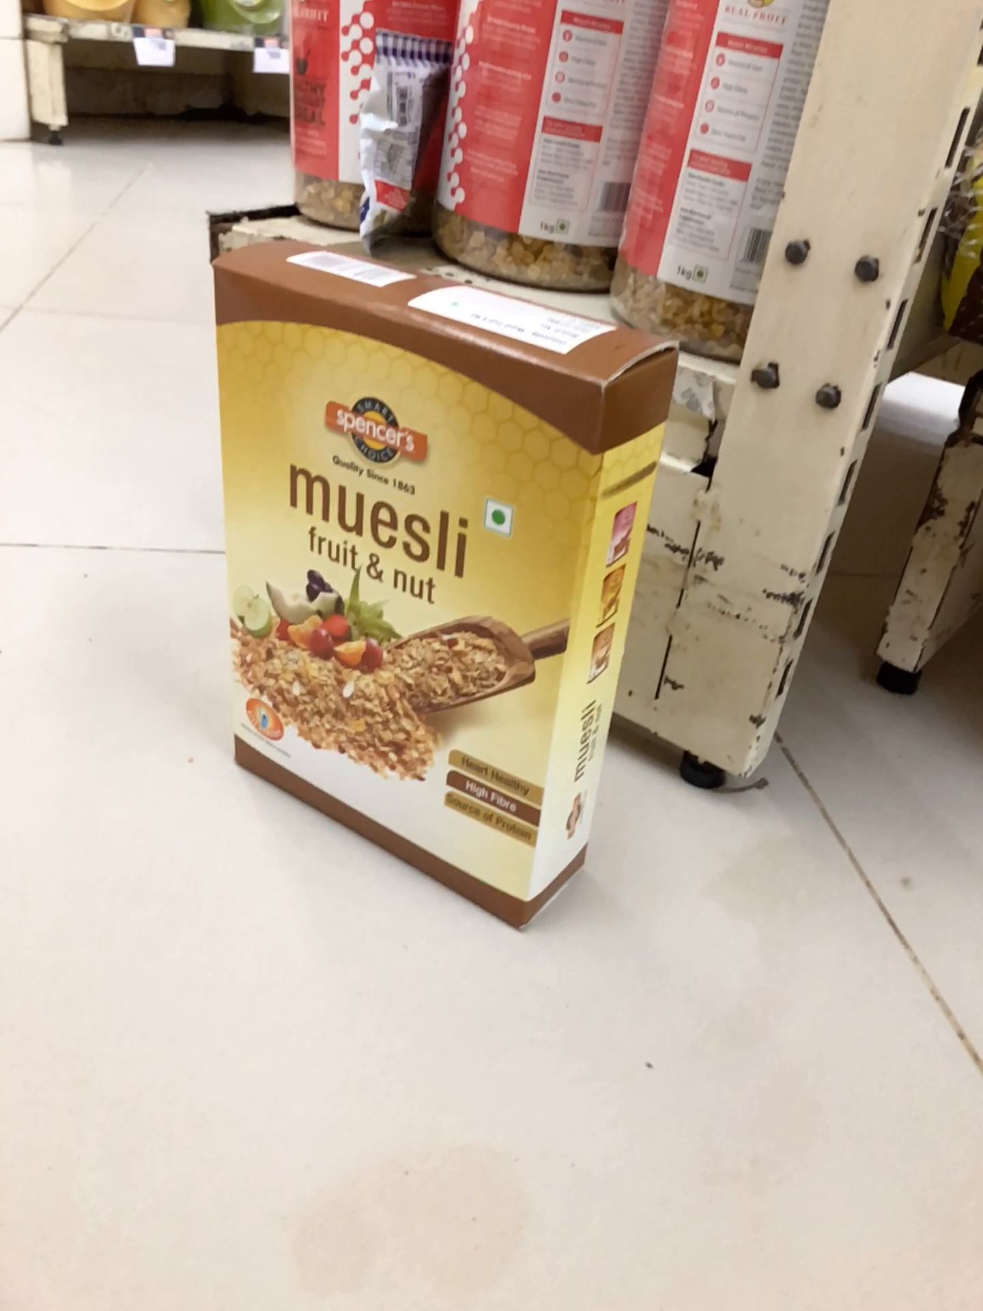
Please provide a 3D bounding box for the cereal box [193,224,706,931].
[{"bbox_3d":[-0.033,-0.035,0.456,0.190,0.238,0.060,24,34,27],"label":"cereal box"}]
